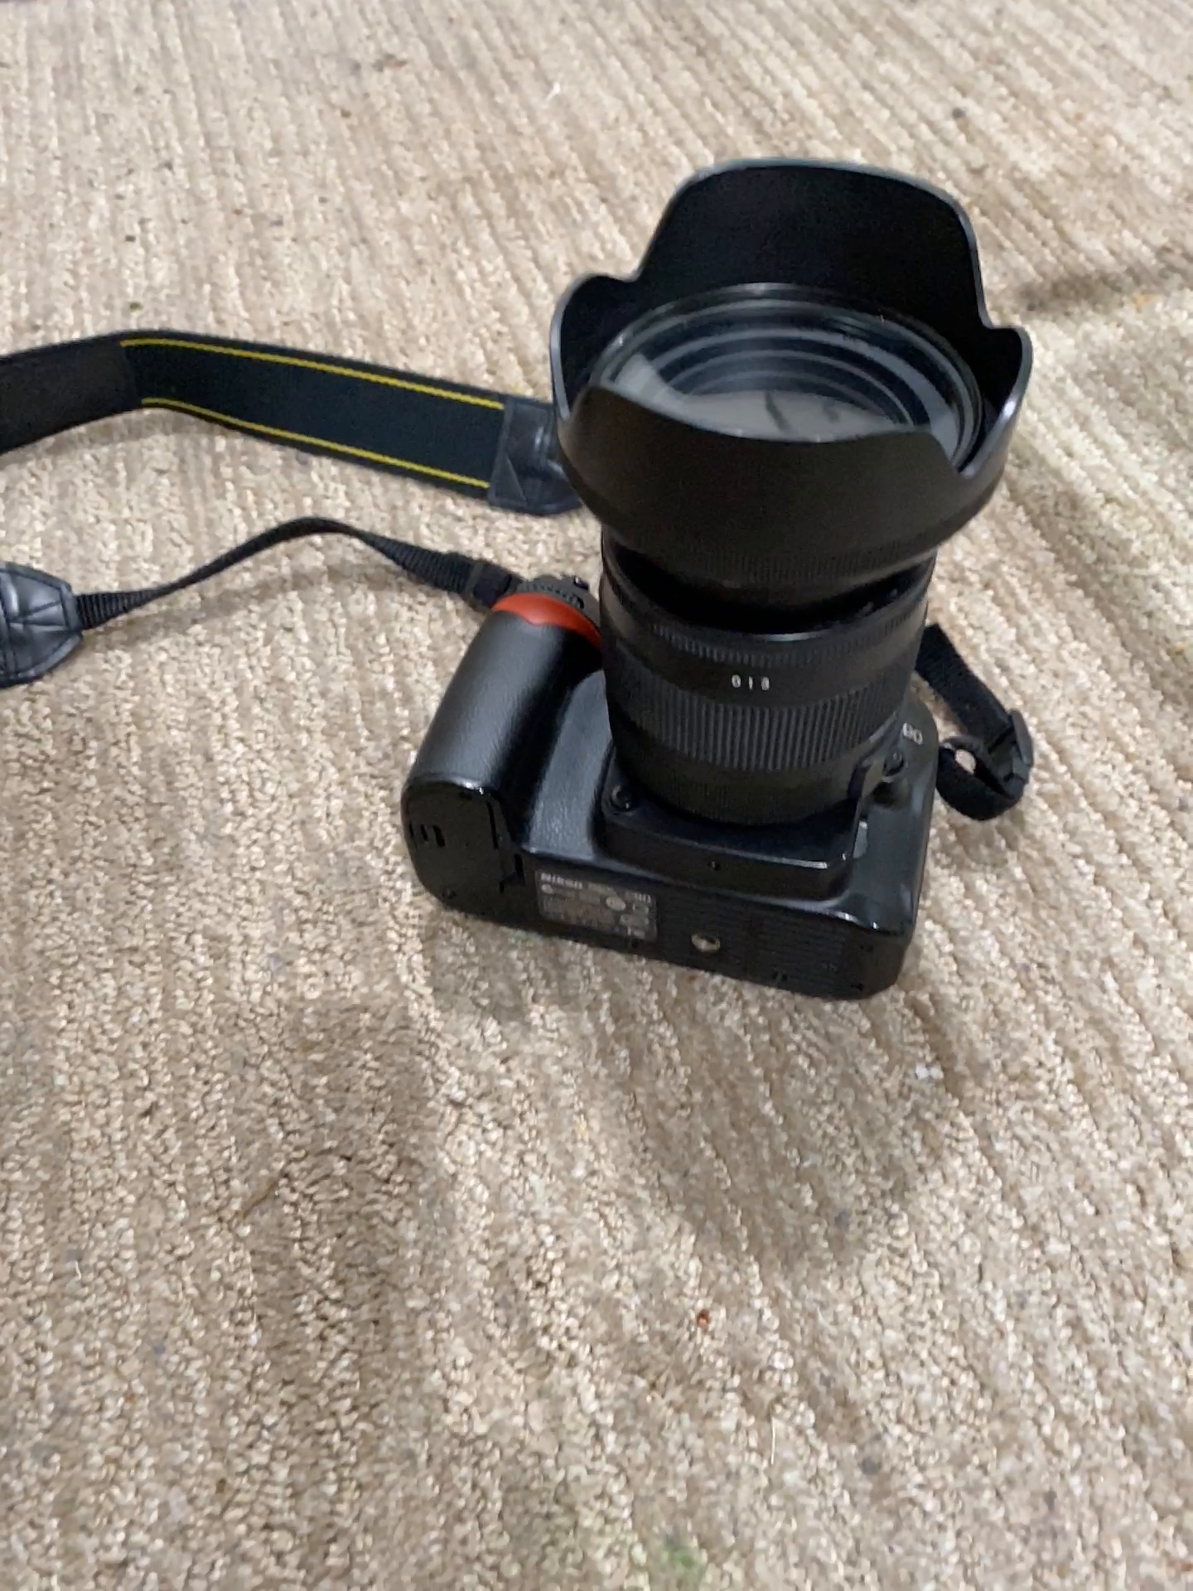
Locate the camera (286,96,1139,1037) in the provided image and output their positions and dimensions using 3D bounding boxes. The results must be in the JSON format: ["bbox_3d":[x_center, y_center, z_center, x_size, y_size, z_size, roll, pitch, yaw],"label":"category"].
[{"bbox_3d":[0.028,-0.048,0.293,0.138,0.165,0.115,12,52,9],"label":"camera"}]
